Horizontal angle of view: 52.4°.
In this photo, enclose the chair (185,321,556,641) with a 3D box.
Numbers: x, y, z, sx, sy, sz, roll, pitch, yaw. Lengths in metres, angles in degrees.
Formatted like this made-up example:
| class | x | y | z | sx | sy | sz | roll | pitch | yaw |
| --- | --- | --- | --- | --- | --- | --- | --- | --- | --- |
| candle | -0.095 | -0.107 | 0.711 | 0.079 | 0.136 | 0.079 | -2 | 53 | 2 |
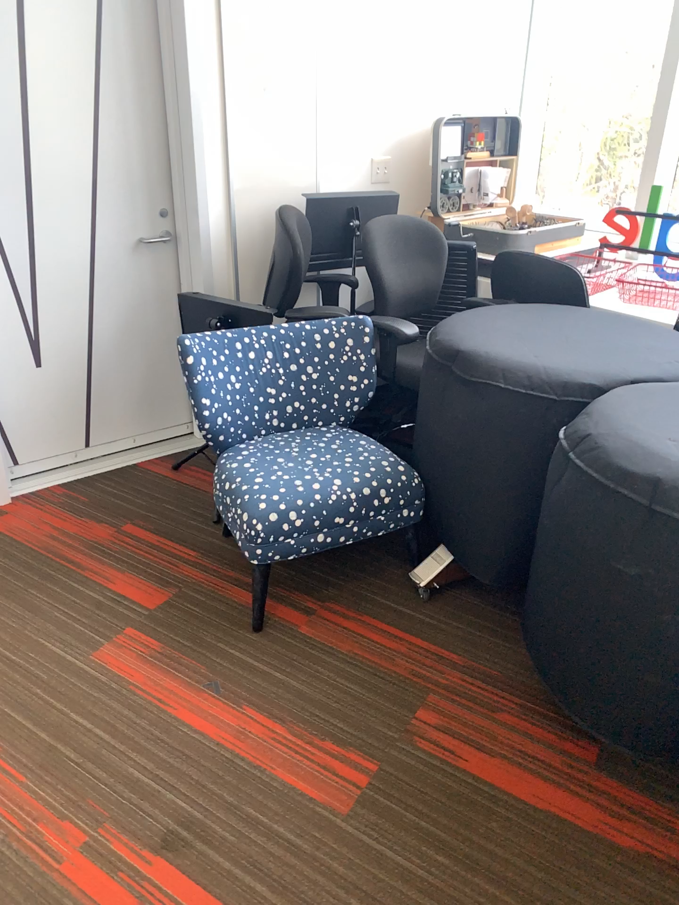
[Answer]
| class | x | y | z | sx | sy | sz | roll | pitch | yaw |
| --- | --- | --- | --- | --- | --- | --- | --- | --- | --- |
| chair | 0.067 | 0.017 | 2.465 | 1.000 | 0.686 | 0.774 | -11 | 29 | -23 |
